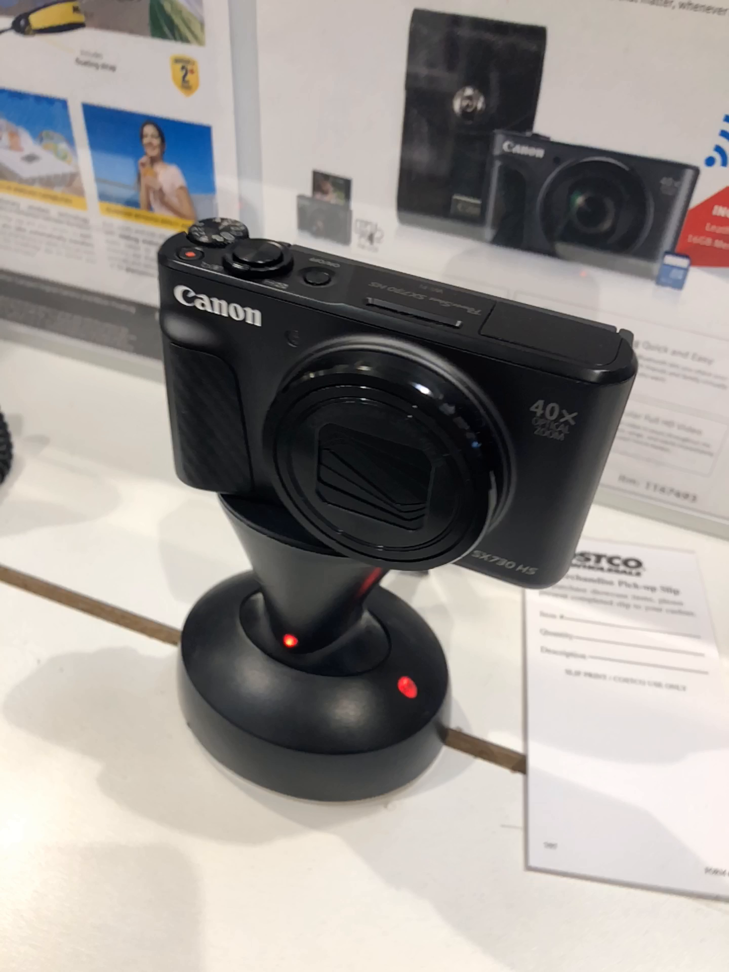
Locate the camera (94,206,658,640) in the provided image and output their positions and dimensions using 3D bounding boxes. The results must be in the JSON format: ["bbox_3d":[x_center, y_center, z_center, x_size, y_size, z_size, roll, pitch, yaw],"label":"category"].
[{"bbox_3d":[0.001,-0.017,0.188,0.110,0.060,0.040,18,43,16],"label":"camera"}]
